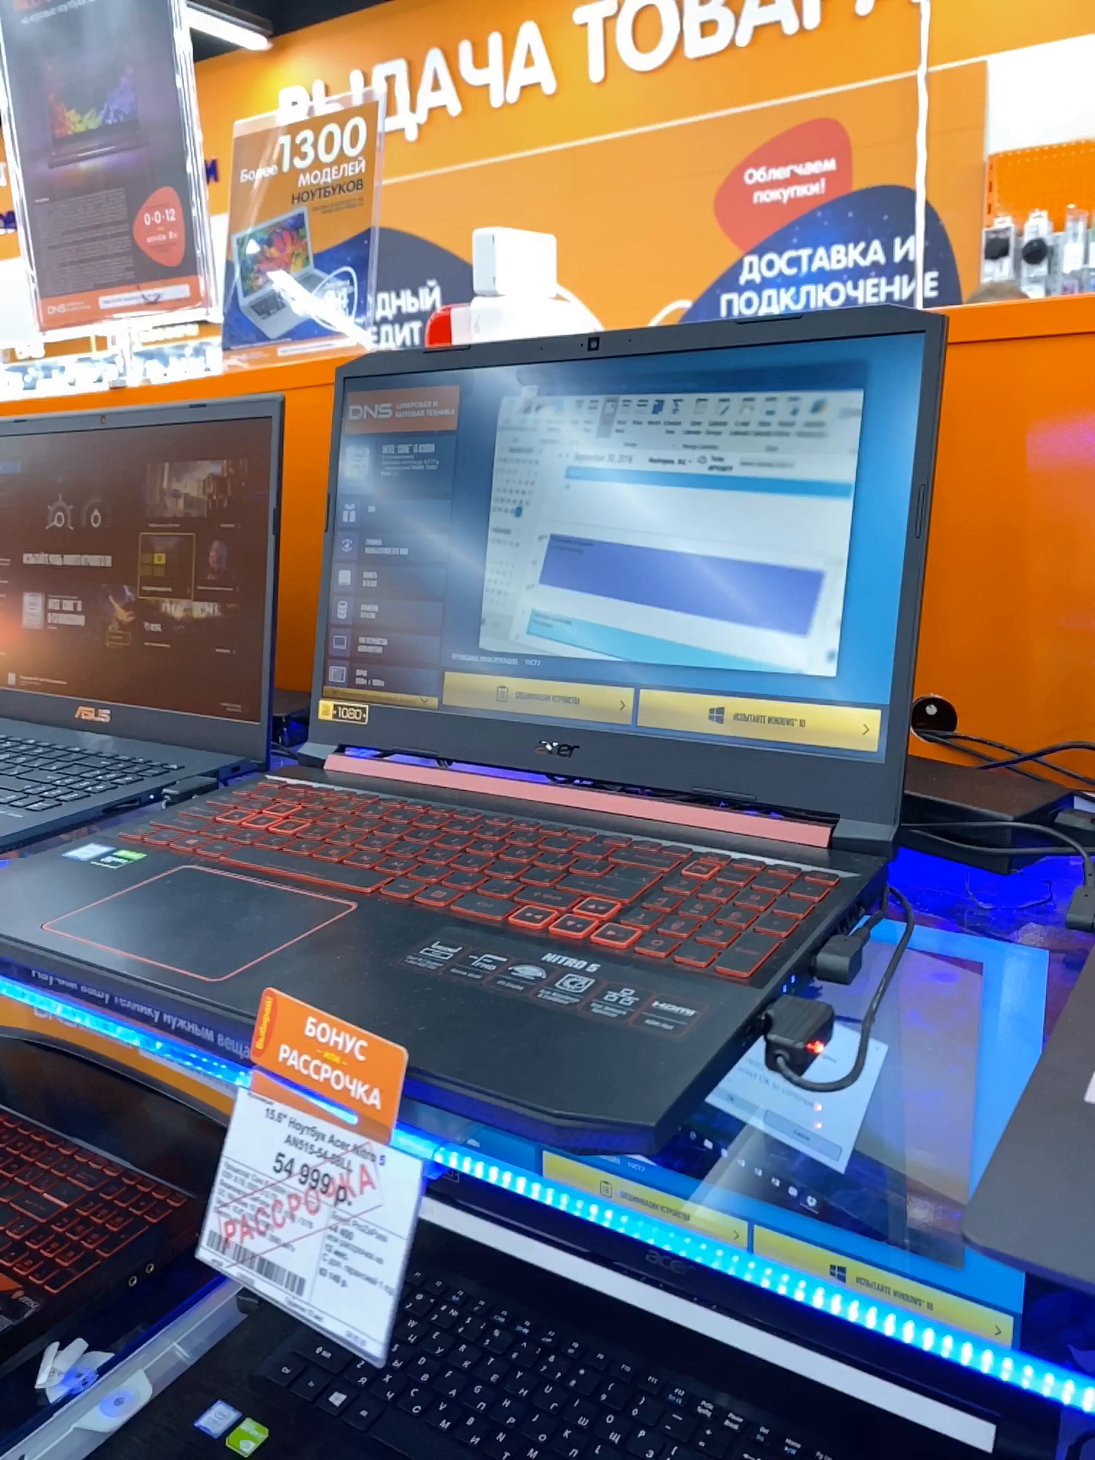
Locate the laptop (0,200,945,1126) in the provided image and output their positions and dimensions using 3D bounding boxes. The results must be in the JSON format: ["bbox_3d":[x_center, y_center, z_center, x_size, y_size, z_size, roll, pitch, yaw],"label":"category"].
[{"bbox_3d":[-0.051,-0.056,0.499,0.361,0.237,0.303,6,15,30],"label":"laptop"}]
